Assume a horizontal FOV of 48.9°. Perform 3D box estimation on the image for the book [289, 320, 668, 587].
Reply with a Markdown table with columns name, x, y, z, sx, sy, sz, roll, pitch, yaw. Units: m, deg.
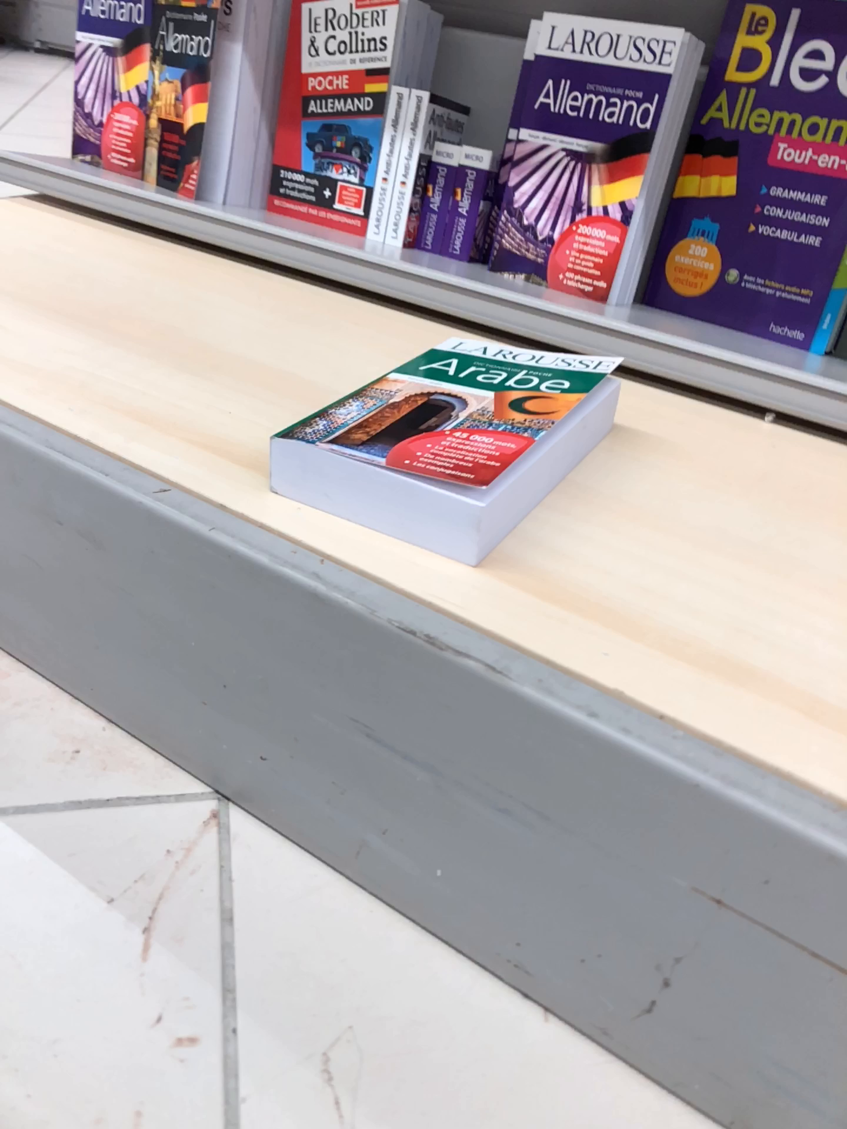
| name | x | y | z | sx | sy | sz | roll | pitch | yaw |
| --- | --- | --- | --- | --- | --- | --- | --- | --- | --- |
| book | 0.035 | -0.066 | 0.460 | 0.111 | 0.045 | 0.183 | 22 | 34 | 23 |
